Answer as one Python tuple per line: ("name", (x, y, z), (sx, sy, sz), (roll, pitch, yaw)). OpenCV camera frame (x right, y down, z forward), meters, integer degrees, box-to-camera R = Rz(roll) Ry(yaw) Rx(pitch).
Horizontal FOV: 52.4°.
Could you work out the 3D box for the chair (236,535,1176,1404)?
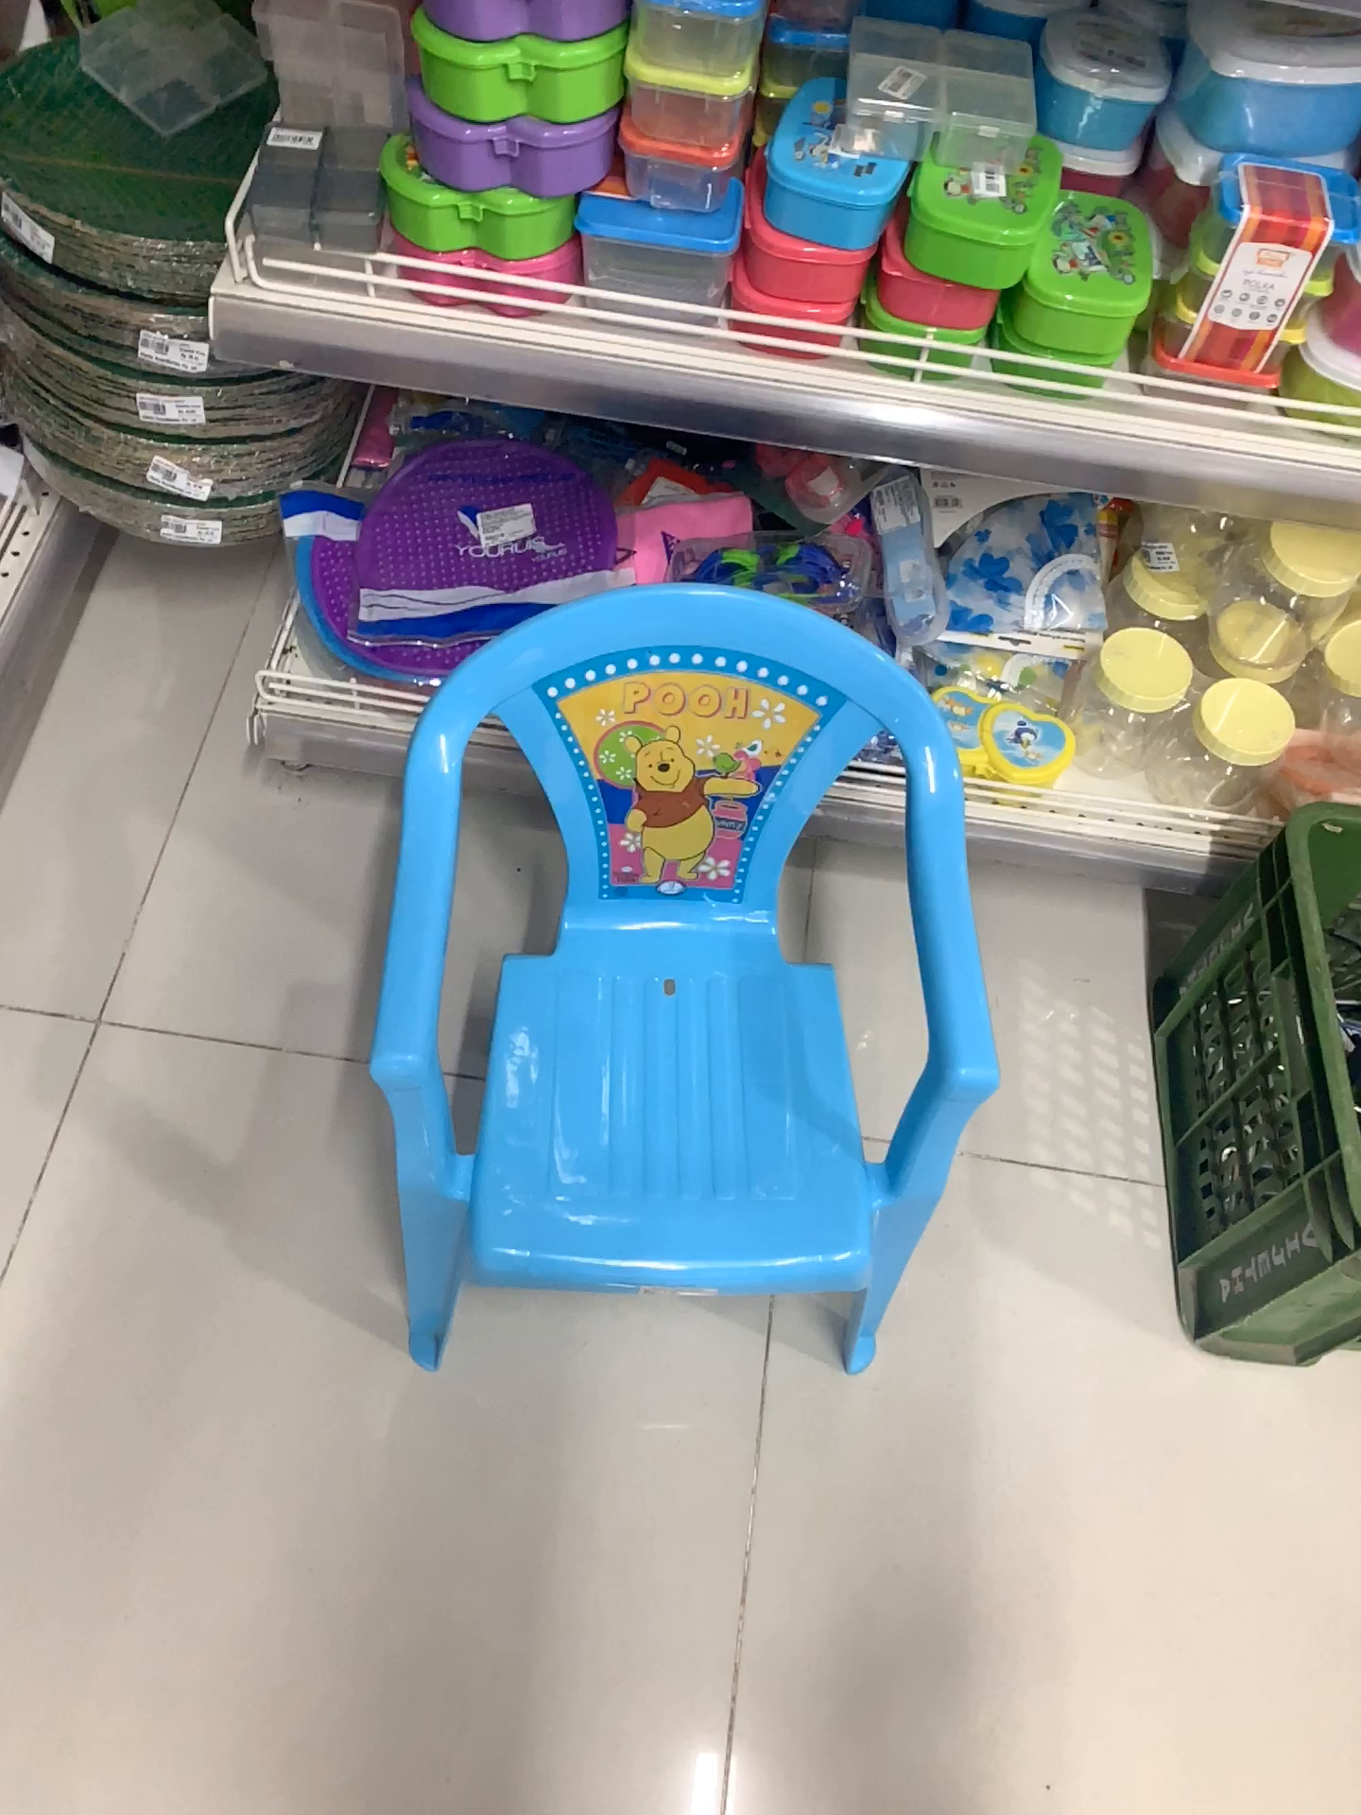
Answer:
("chair", (-0.006, 0.085, 0.879), (0.390, 0.510, 0.350), (1, 60, -4))
